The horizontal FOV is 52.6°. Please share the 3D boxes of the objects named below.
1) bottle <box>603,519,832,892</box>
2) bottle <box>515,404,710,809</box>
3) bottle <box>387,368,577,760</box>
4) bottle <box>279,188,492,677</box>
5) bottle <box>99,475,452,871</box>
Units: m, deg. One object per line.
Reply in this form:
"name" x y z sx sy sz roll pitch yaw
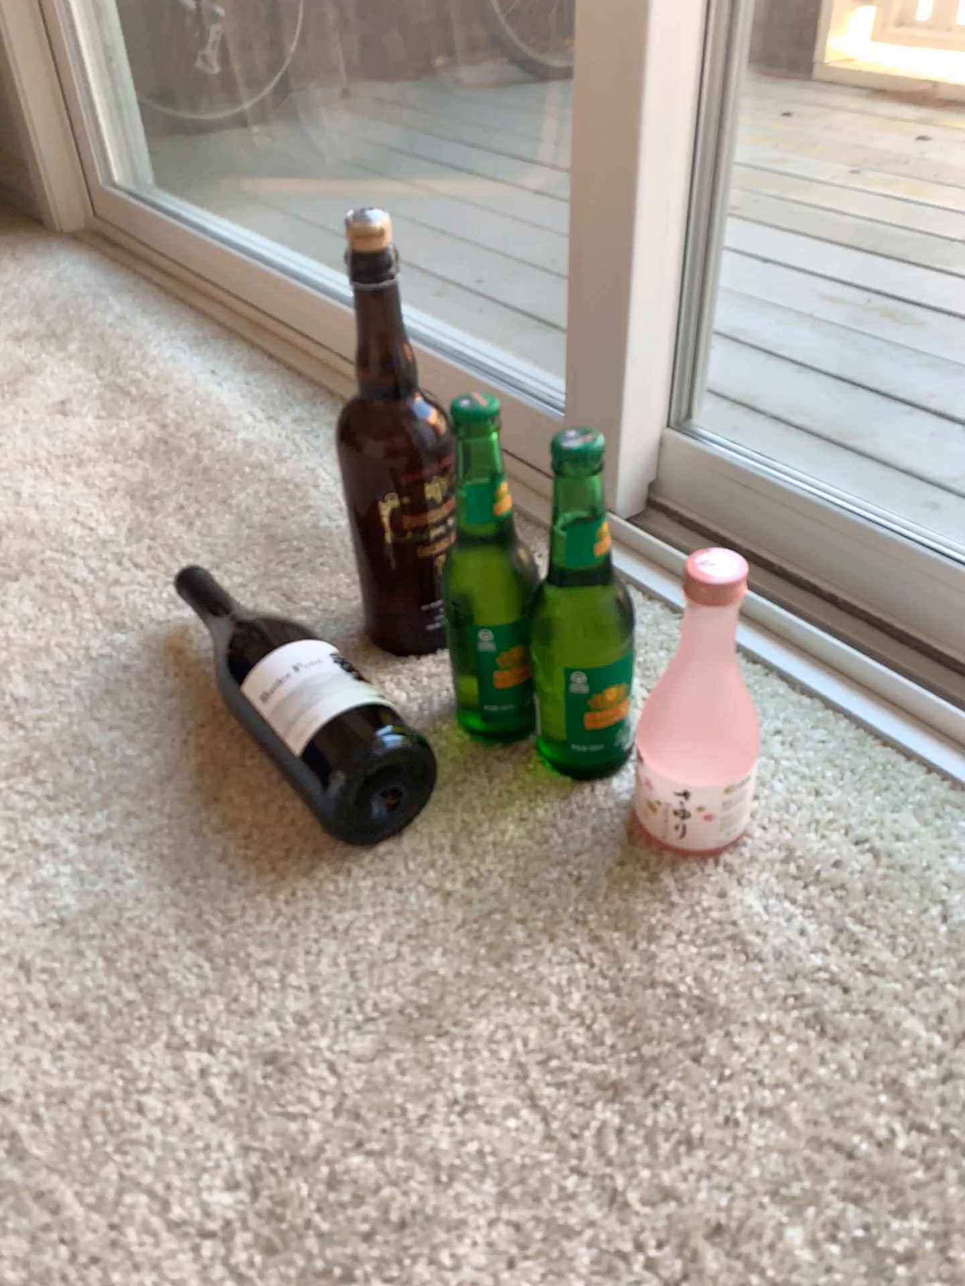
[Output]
"bottle" 0.119 0.037 0.523 0.070 0.179 0.070 -1 38 1
"bottle" 0.069 -0.015 0.567 0.070 0.219 0.070 -1 38 1
"bottle" 0.002 -0.041 0.573 0.070 0.209 0.070 -1 38 1
"bottle" -0.053 -0.125 0.633 0.080 0.288 0.080 -1 38 1
"bottle" -0.135 0.006 0.606 0.070 0.080 0.281 -28 52 -29
